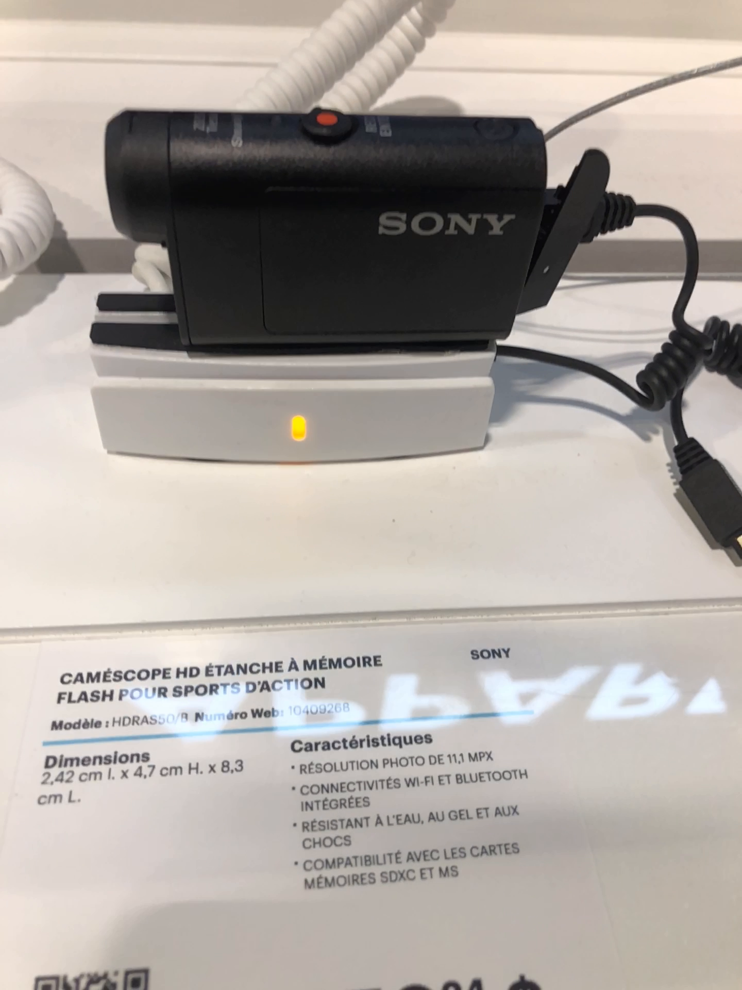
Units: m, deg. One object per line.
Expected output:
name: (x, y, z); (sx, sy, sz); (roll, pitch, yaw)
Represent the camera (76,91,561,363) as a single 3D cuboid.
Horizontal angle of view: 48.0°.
camera: (-0.010, -0.050, 0.161); (0.080, 0.045, 0.020); (-1, 48, -5)
